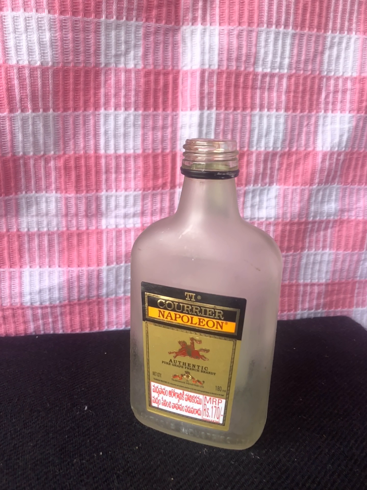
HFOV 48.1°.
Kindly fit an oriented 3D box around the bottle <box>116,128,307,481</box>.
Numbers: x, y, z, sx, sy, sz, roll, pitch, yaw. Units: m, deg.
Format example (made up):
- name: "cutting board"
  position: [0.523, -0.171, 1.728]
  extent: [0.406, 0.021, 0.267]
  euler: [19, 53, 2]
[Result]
- name: "bottle"
  position: [0.010, 0.026, 0.193]
  extent: [0.070, 0.149, 0.040]
  euler: [9, 18, 14]
